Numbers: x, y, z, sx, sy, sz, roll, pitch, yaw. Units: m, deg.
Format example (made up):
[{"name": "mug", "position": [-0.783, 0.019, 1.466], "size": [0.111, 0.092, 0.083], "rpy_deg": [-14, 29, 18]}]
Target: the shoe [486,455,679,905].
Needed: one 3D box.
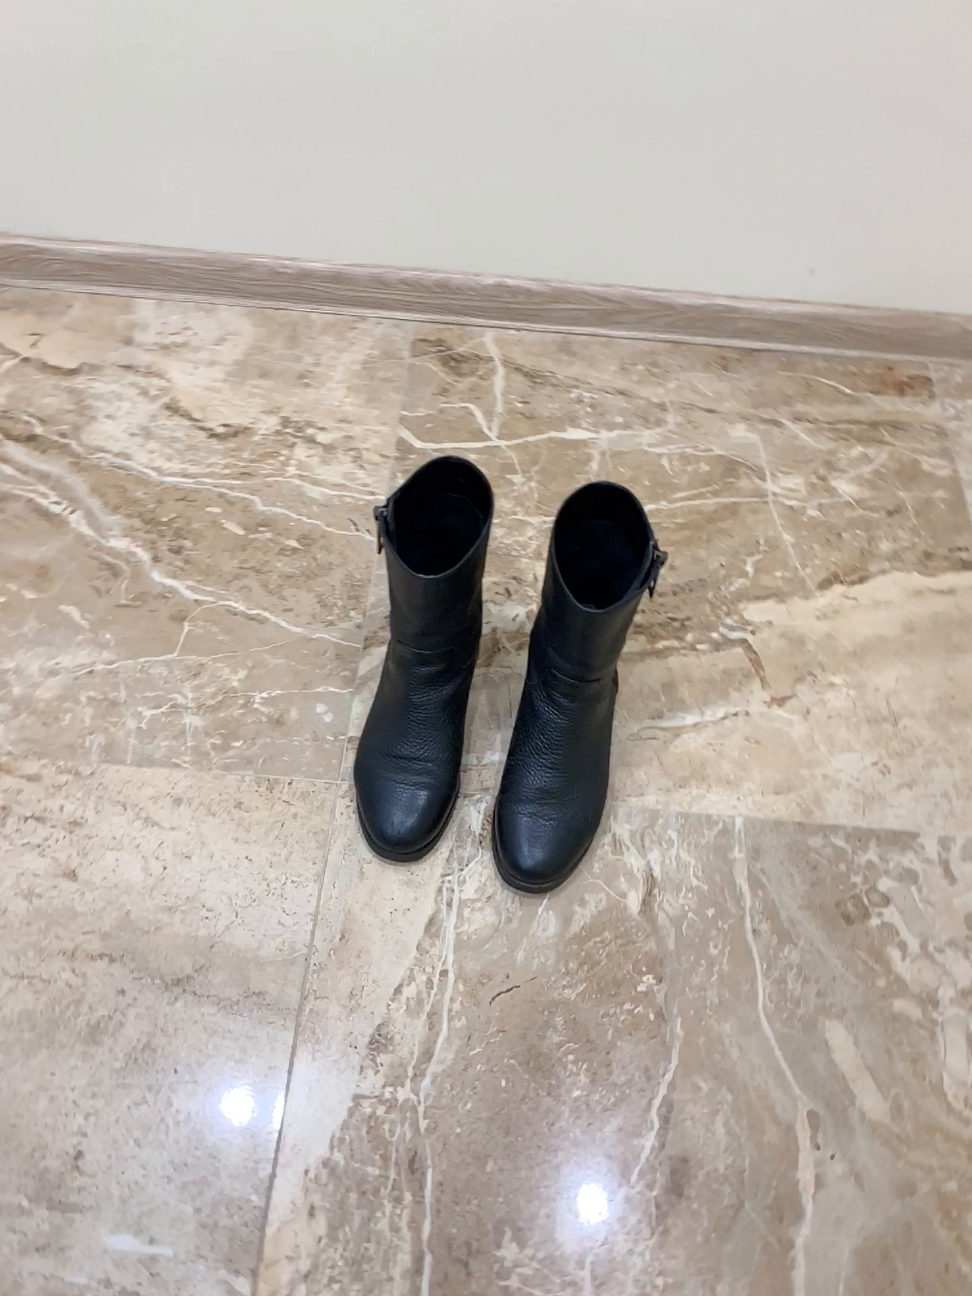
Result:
[{"name": "shoe", "position": [0.072, 0.027, 0.755], "size": [0.090, 0.209, 0.261], "rpy_deg": [10, 57, 3]}]

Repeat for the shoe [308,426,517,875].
[{"name": "shoe", "position": [-0.048, 0.005, 0.757], "size": [0.090, 0.209, 0.261], "rpy_deg": [9, 57, 3]}]
